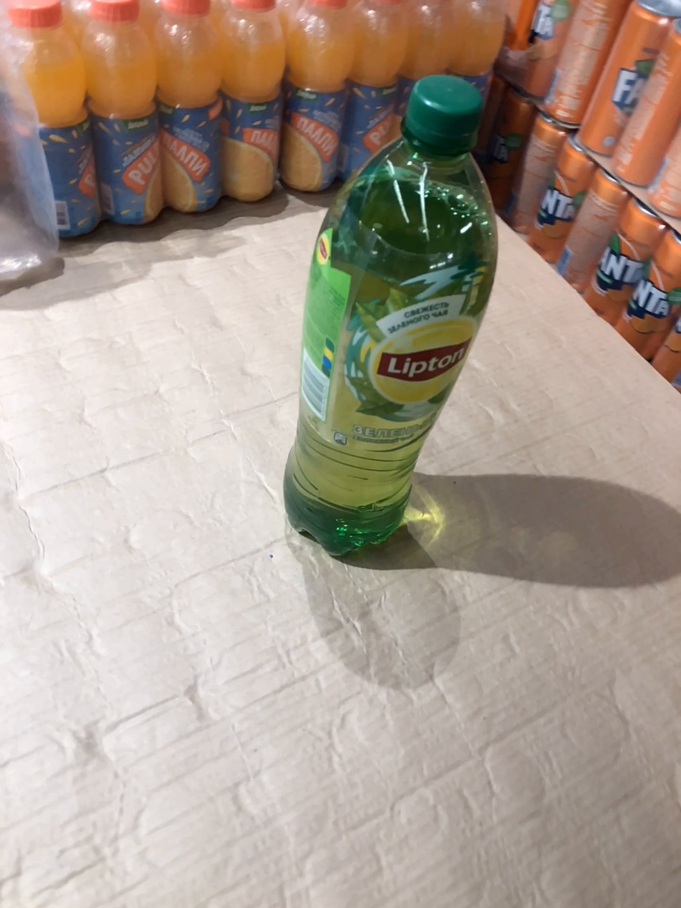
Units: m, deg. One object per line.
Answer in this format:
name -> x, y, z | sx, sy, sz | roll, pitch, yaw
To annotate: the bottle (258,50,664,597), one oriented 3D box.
bottle -> 0.036, -0.053, 0.431 | 0.120, 0.288, 0.120 | 5, 52, -6
